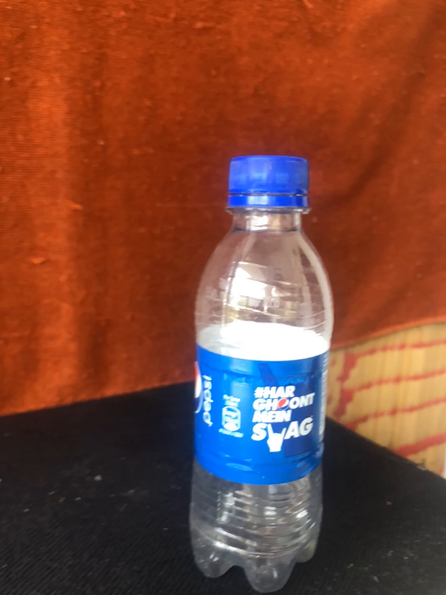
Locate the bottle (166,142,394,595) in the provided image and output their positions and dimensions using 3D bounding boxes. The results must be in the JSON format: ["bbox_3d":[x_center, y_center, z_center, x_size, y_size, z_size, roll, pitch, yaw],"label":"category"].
[{"bbox_3d":[0.014,0.033,0.195,0.060,0.170,0.050,3,12,-9],"label":"bottle"}]
